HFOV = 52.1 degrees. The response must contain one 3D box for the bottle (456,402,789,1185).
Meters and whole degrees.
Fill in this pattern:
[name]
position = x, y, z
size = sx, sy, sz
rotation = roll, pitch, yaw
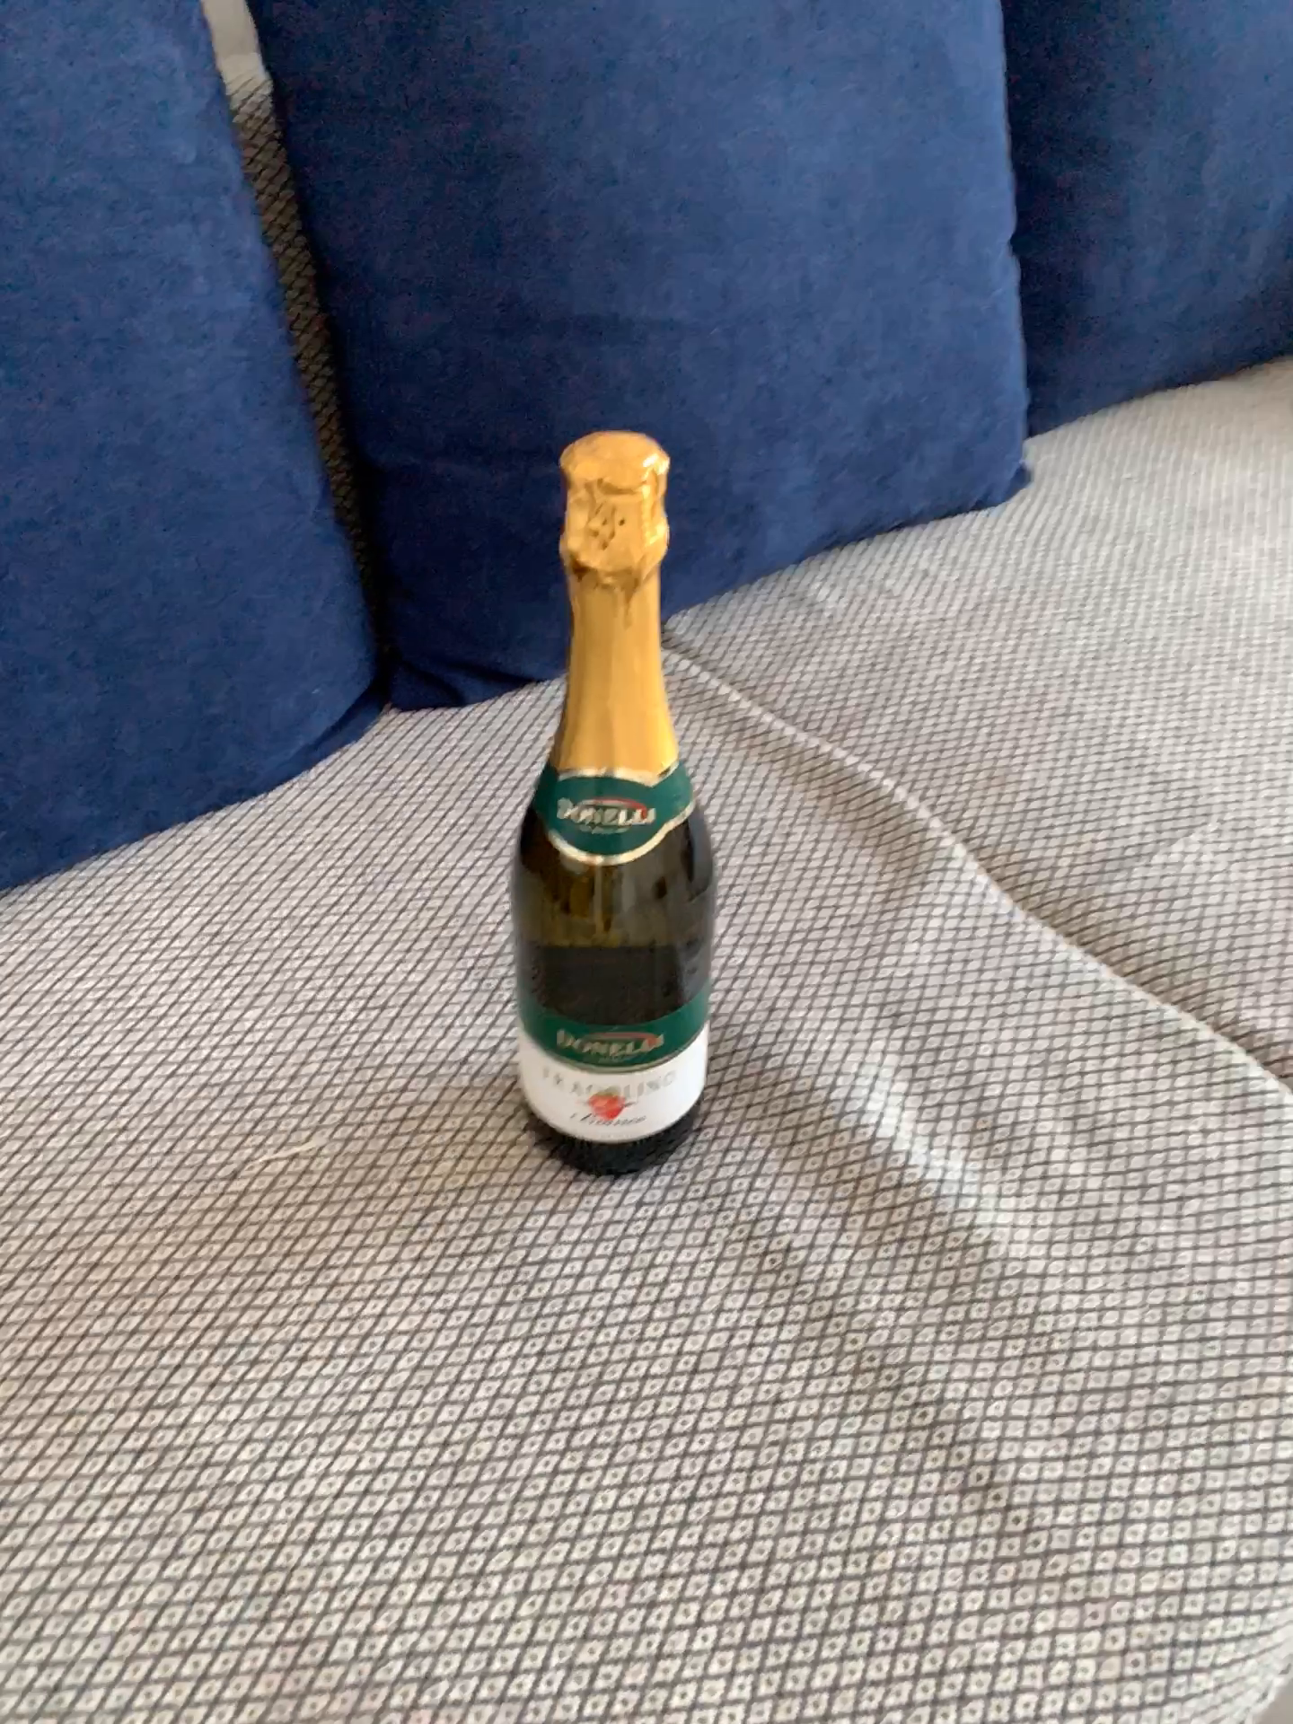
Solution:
[bottle]
position = -0.005, -0.008, 0.486
size = 0.090, 0.289, 0.090
rotation = 0, 41, 0
